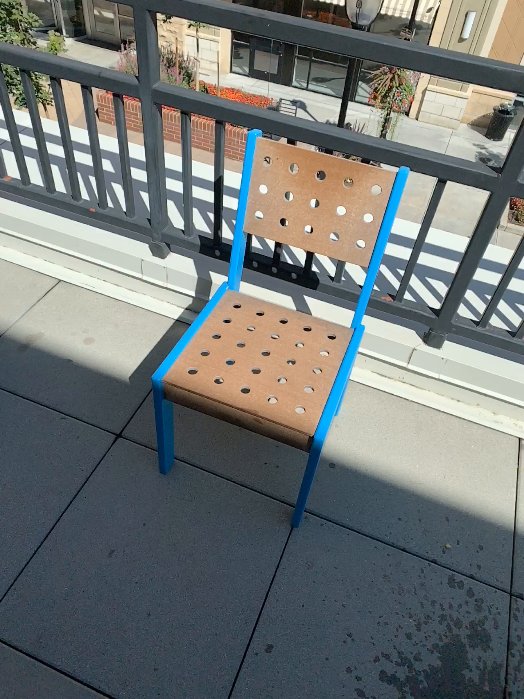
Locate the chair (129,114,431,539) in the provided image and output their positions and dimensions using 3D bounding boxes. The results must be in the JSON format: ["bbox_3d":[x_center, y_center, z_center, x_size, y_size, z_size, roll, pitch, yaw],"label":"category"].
[{"bbox_3d":[0.055,-0.052,1.485,0.470,0.856,0.673,19,47,12],"label":"chair"}]
